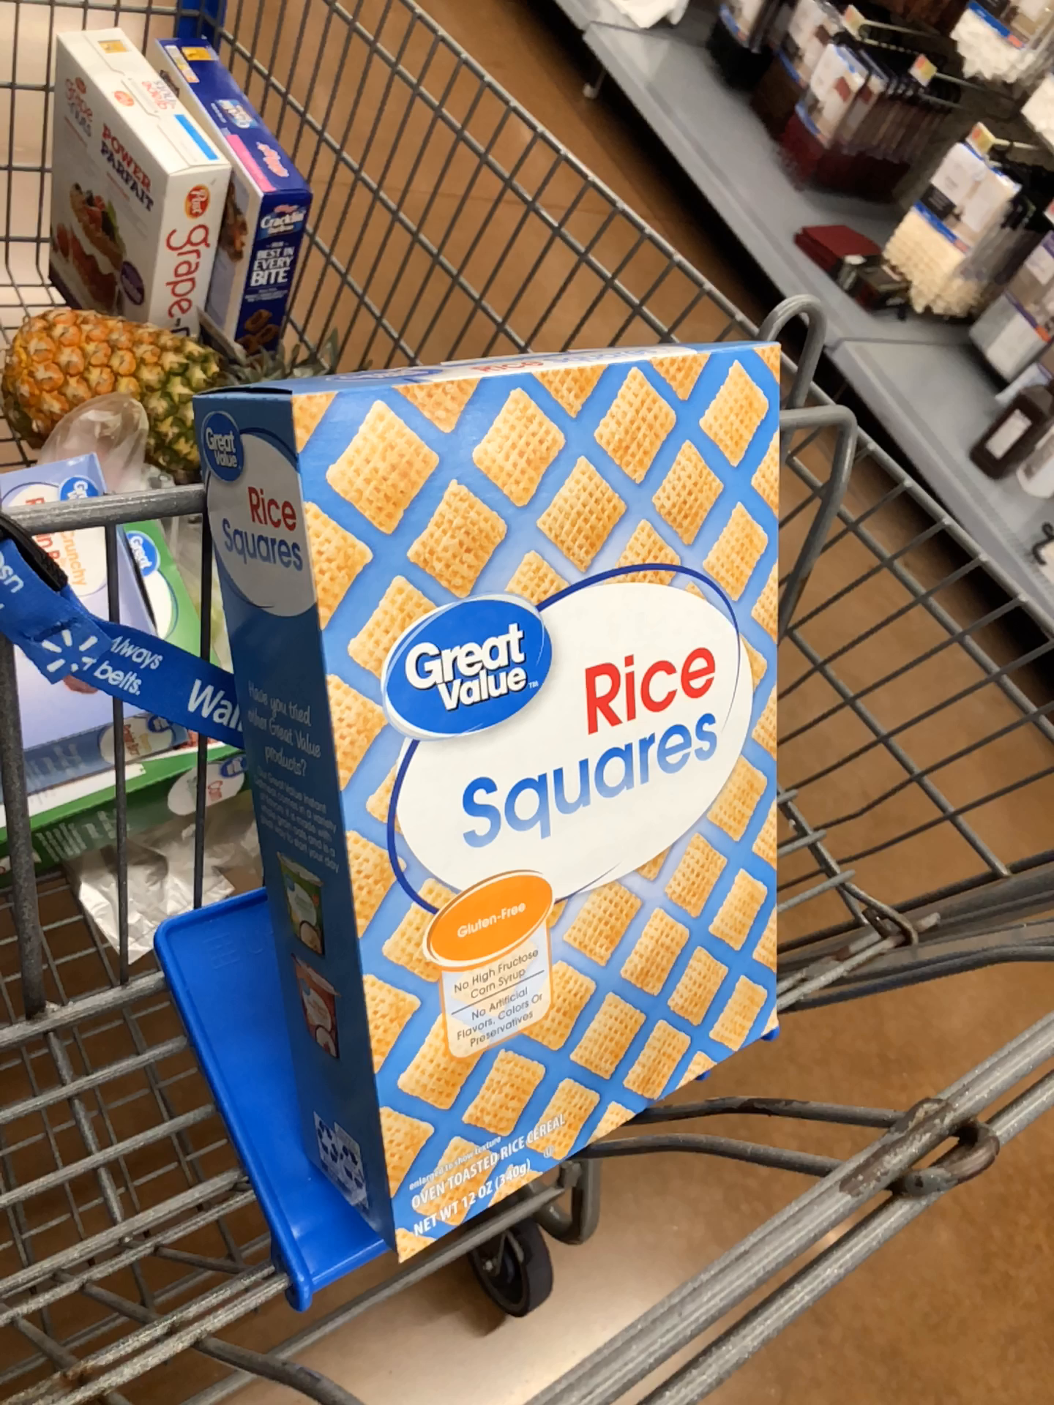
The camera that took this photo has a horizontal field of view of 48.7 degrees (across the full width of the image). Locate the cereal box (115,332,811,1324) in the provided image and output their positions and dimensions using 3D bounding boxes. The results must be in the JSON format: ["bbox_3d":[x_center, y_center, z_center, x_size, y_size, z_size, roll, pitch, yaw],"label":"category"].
[{"bbox_3d":[-0.001,0.025,0.408,0.211,0.280,0.080,-18,22,-35],"label":"cereal box"}]
